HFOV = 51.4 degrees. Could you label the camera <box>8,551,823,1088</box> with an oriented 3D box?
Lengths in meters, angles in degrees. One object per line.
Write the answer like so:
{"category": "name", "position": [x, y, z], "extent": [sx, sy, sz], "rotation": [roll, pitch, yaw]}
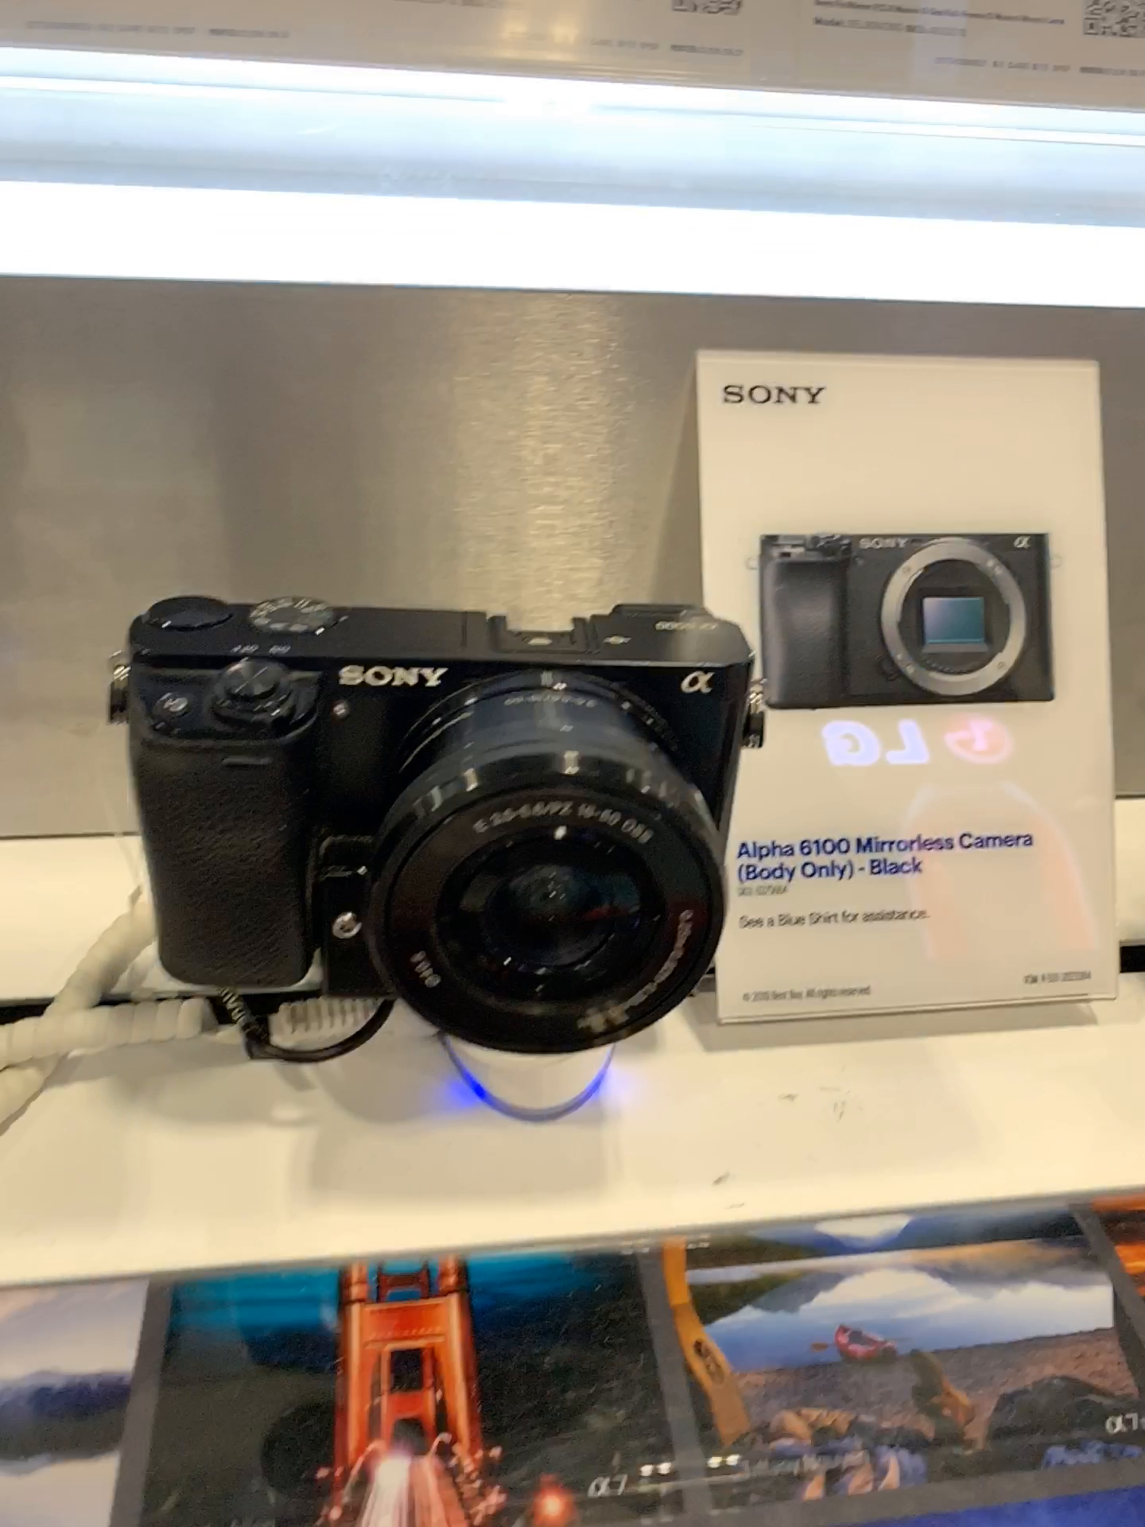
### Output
{"category": "camera", "position": [-0.026, 0.007, 0.222], "extent": [0.120, 0.074, 0.066], "rotation": [0, 28, -7]}
